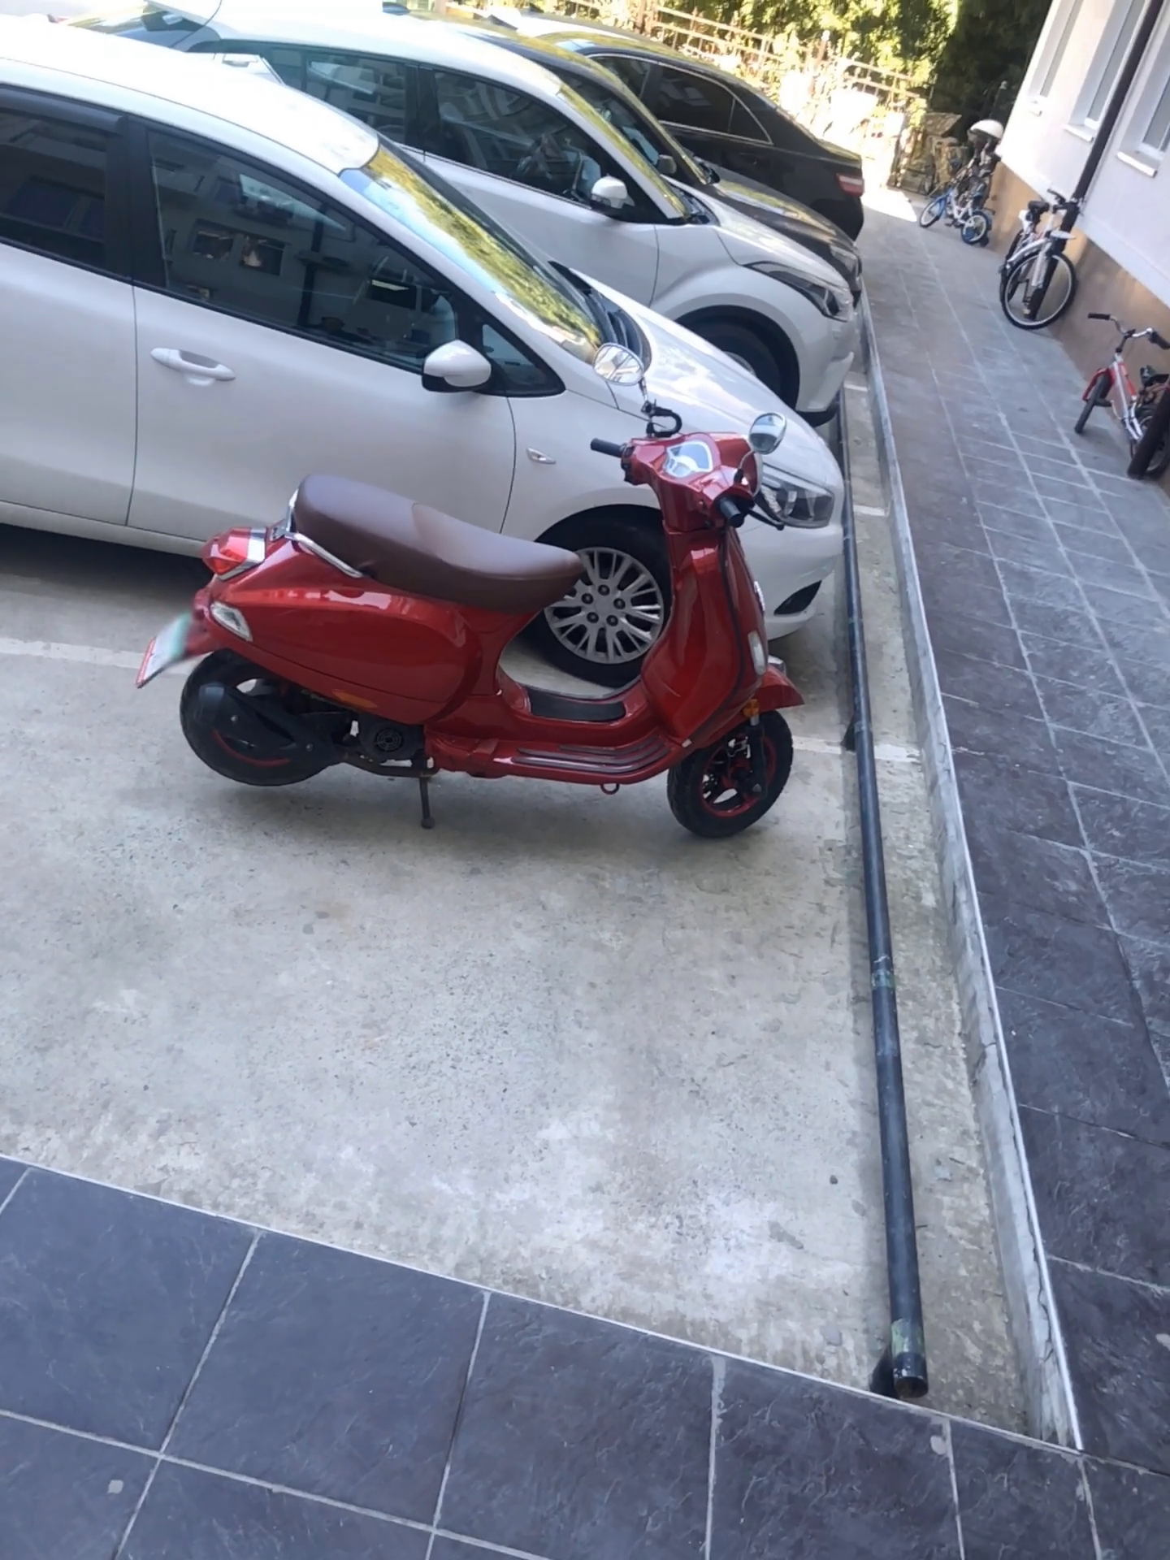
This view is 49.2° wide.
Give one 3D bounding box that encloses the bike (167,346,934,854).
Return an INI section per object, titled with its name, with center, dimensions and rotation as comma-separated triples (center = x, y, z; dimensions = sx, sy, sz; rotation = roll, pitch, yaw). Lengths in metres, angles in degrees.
[bike]
center = -0.125, -0.392, 3.130
dimensions = 1.595, 0.950, 0.536
rotation = 4, 33, -16
